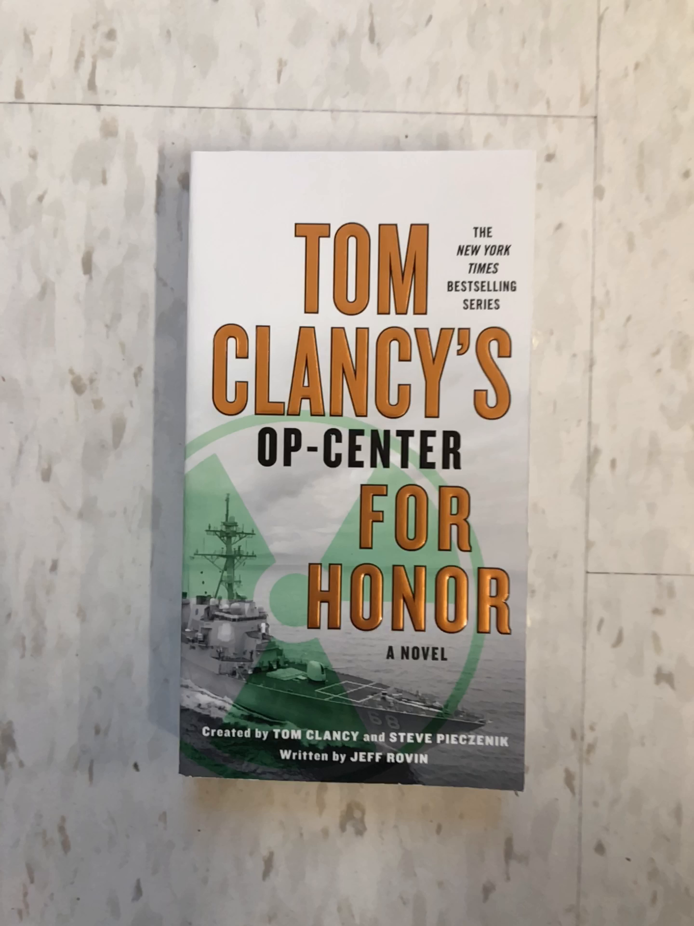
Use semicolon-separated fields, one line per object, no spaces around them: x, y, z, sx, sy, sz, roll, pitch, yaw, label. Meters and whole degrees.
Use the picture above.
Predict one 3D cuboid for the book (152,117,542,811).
0.000;0.000;0.250;0.110;0.050;0.200;-1;89;0;book
